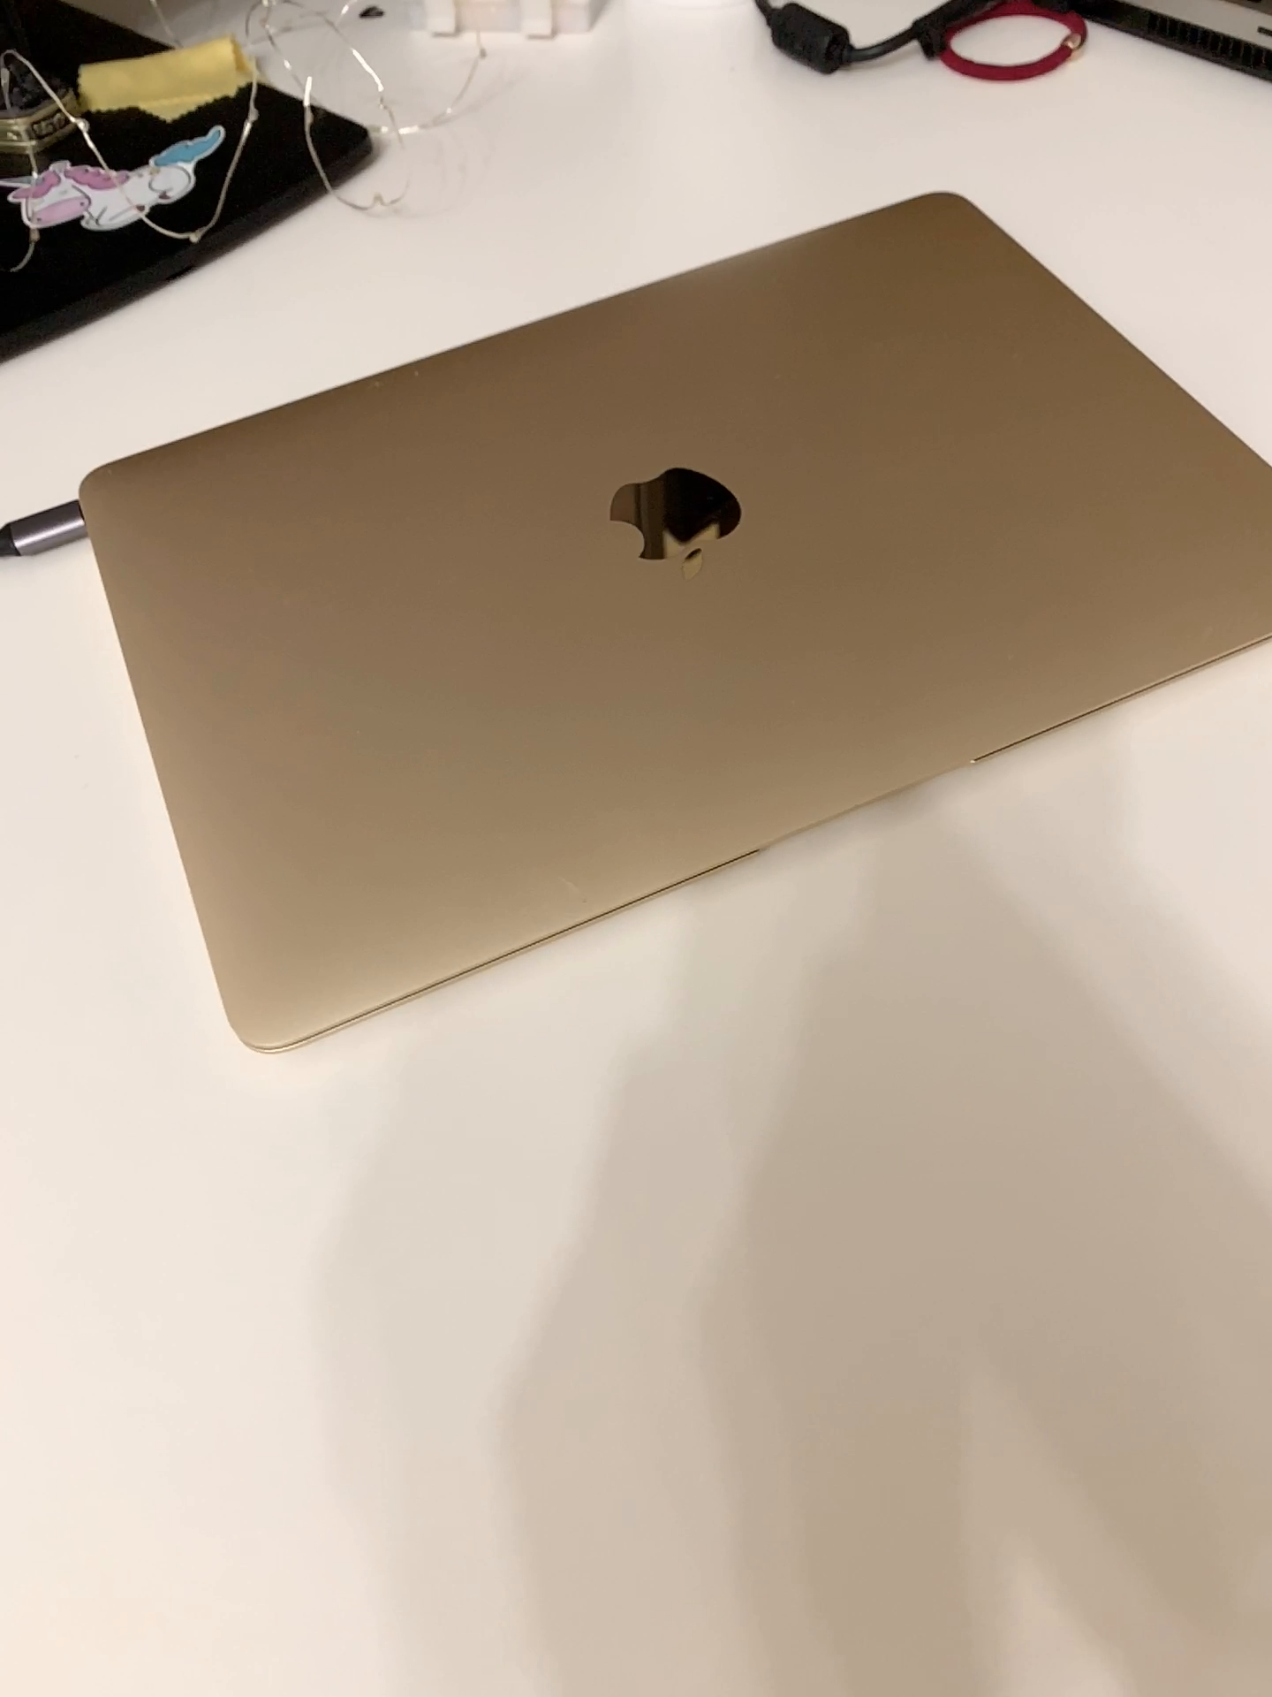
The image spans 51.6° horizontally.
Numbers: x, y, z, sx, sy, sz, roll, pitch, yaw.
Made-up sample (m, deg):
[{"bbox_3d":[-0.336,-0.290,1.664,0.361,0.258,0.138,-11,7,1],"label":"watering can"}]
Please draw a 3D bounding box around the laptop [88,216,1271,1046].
[{"bbox_3d":[0.010,-0.076,0.330,0.255,0.013,0.174,-22,58,-12],"label":"laptop"}]
